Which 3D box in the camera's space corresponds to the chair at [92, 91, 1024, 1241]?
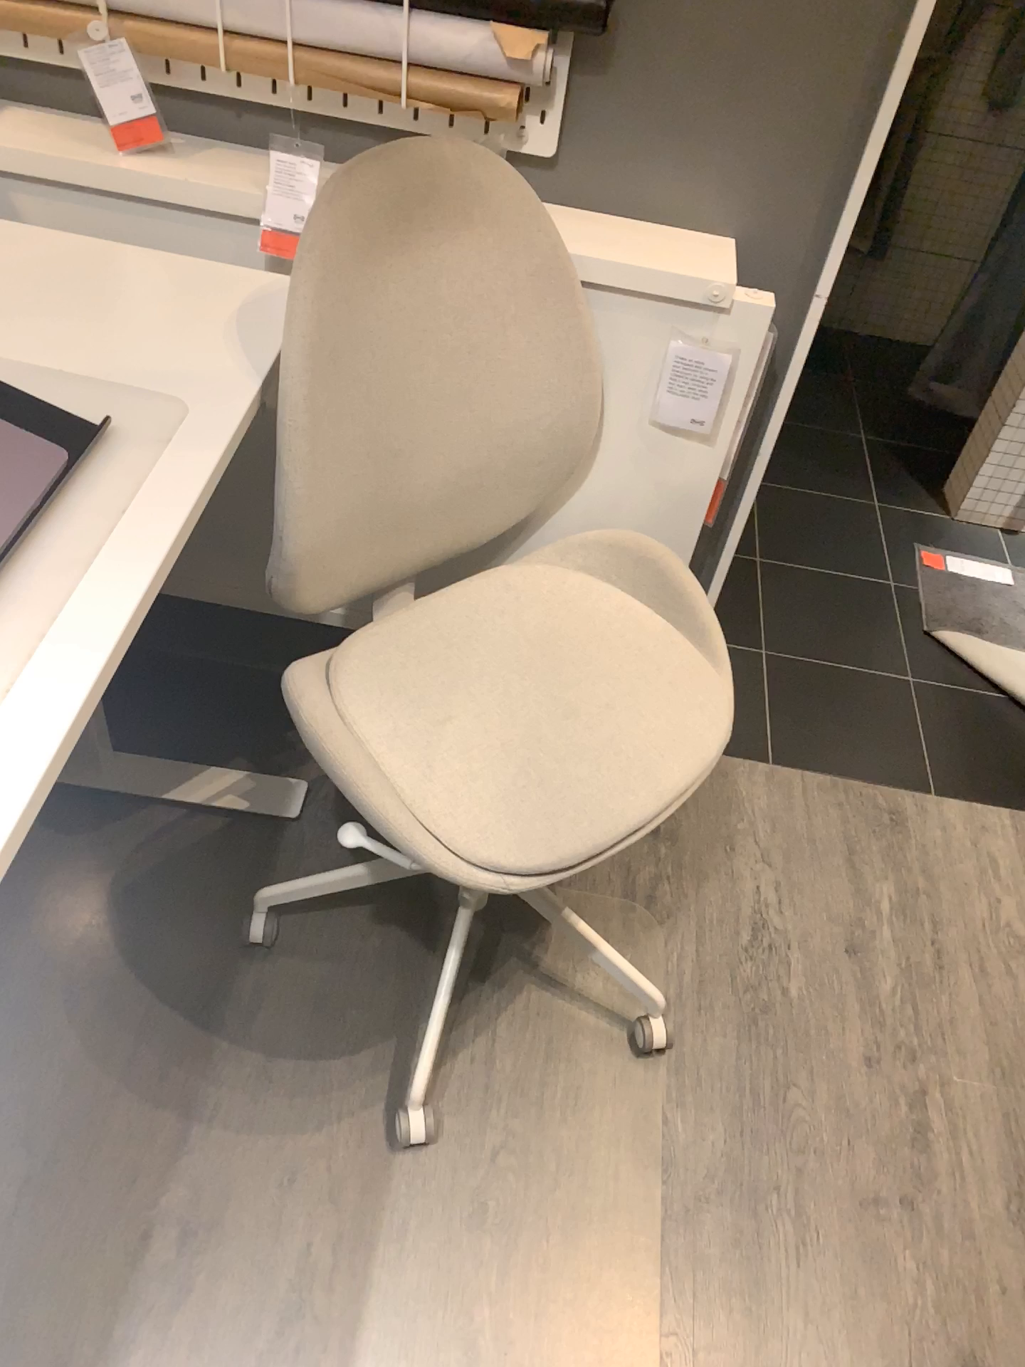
[{"bbox_3d":[0.033,0.002,1.113,0.611,0.936,0.591,-21,54,-27],"label":"chair"}]
